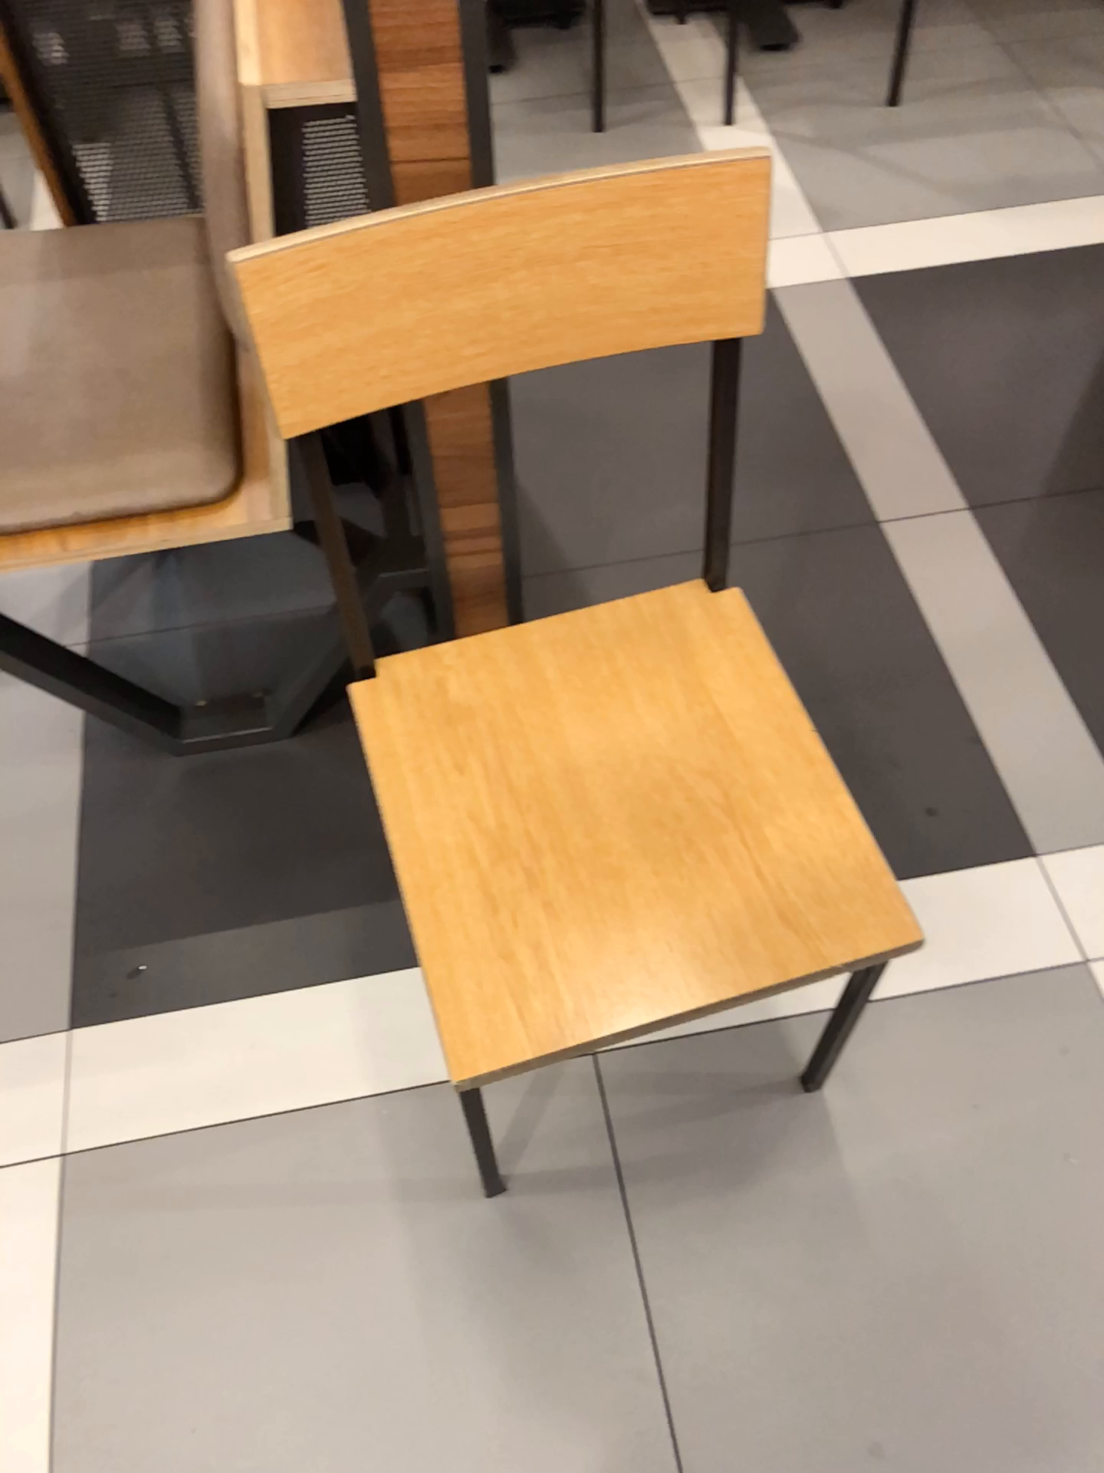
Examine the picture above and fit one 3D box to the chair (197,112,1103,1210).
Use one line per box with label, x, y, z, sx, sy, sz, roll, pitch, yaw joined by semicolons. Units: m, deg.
chair;0.043;0.017;1.075;0.430;0.846;0.462;-15;56;-9
